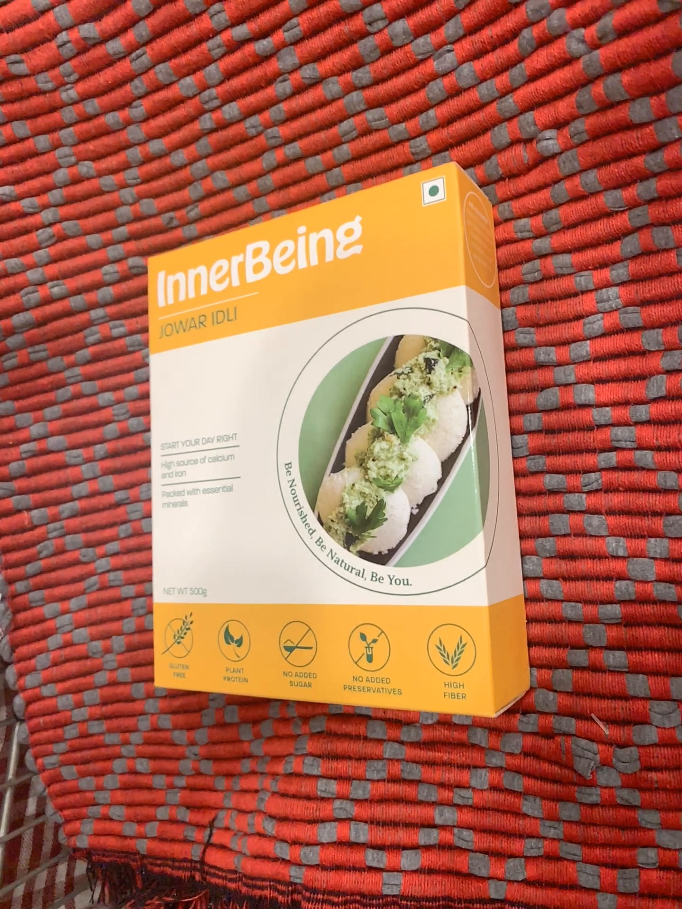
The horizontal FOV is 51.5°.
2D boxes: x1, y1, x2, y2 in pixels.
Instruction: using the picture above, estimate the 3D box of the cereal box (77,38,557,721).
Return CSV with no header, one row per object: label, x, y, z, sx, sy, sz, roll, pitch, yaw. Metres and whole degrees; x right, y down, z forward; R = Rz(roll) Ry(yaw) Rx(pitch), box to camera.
cereal box,-0.012,-0.016,0.256,0.151,0.070,0.190,-6,81,26
